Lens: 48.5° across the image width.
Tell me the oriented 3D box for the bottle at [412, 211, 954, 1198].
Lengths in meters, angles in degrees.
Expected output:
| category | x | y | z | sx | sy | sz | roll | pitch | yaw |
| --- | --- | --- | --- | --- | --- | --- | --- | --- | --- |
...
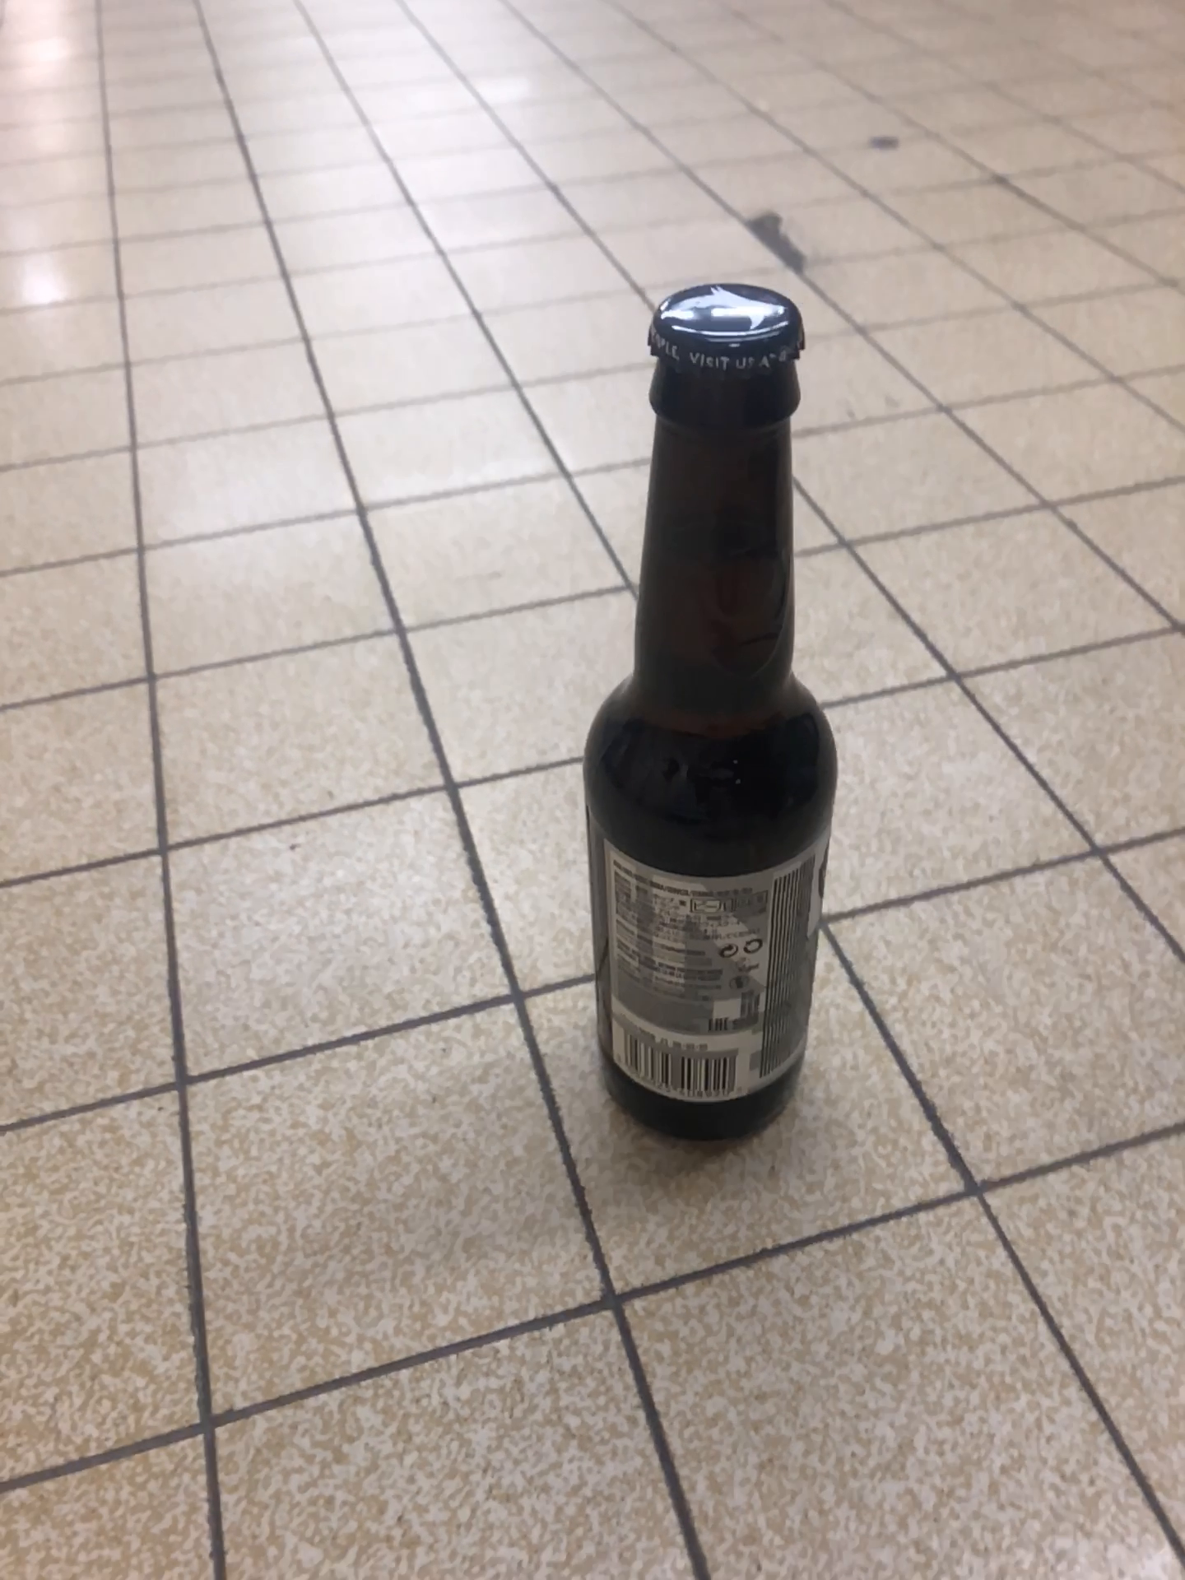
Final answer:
| category | x | y | z | sx | sy | sz | roll | pitch | yaw |
| --- | --- | --- | --- | --- | --- | --- | --- | --- | --- |
| bottle | 0.019 | -0.006 | 0.313 | 0.070 | 0.222 | 0.070 | -2 | 42 | 1 |
